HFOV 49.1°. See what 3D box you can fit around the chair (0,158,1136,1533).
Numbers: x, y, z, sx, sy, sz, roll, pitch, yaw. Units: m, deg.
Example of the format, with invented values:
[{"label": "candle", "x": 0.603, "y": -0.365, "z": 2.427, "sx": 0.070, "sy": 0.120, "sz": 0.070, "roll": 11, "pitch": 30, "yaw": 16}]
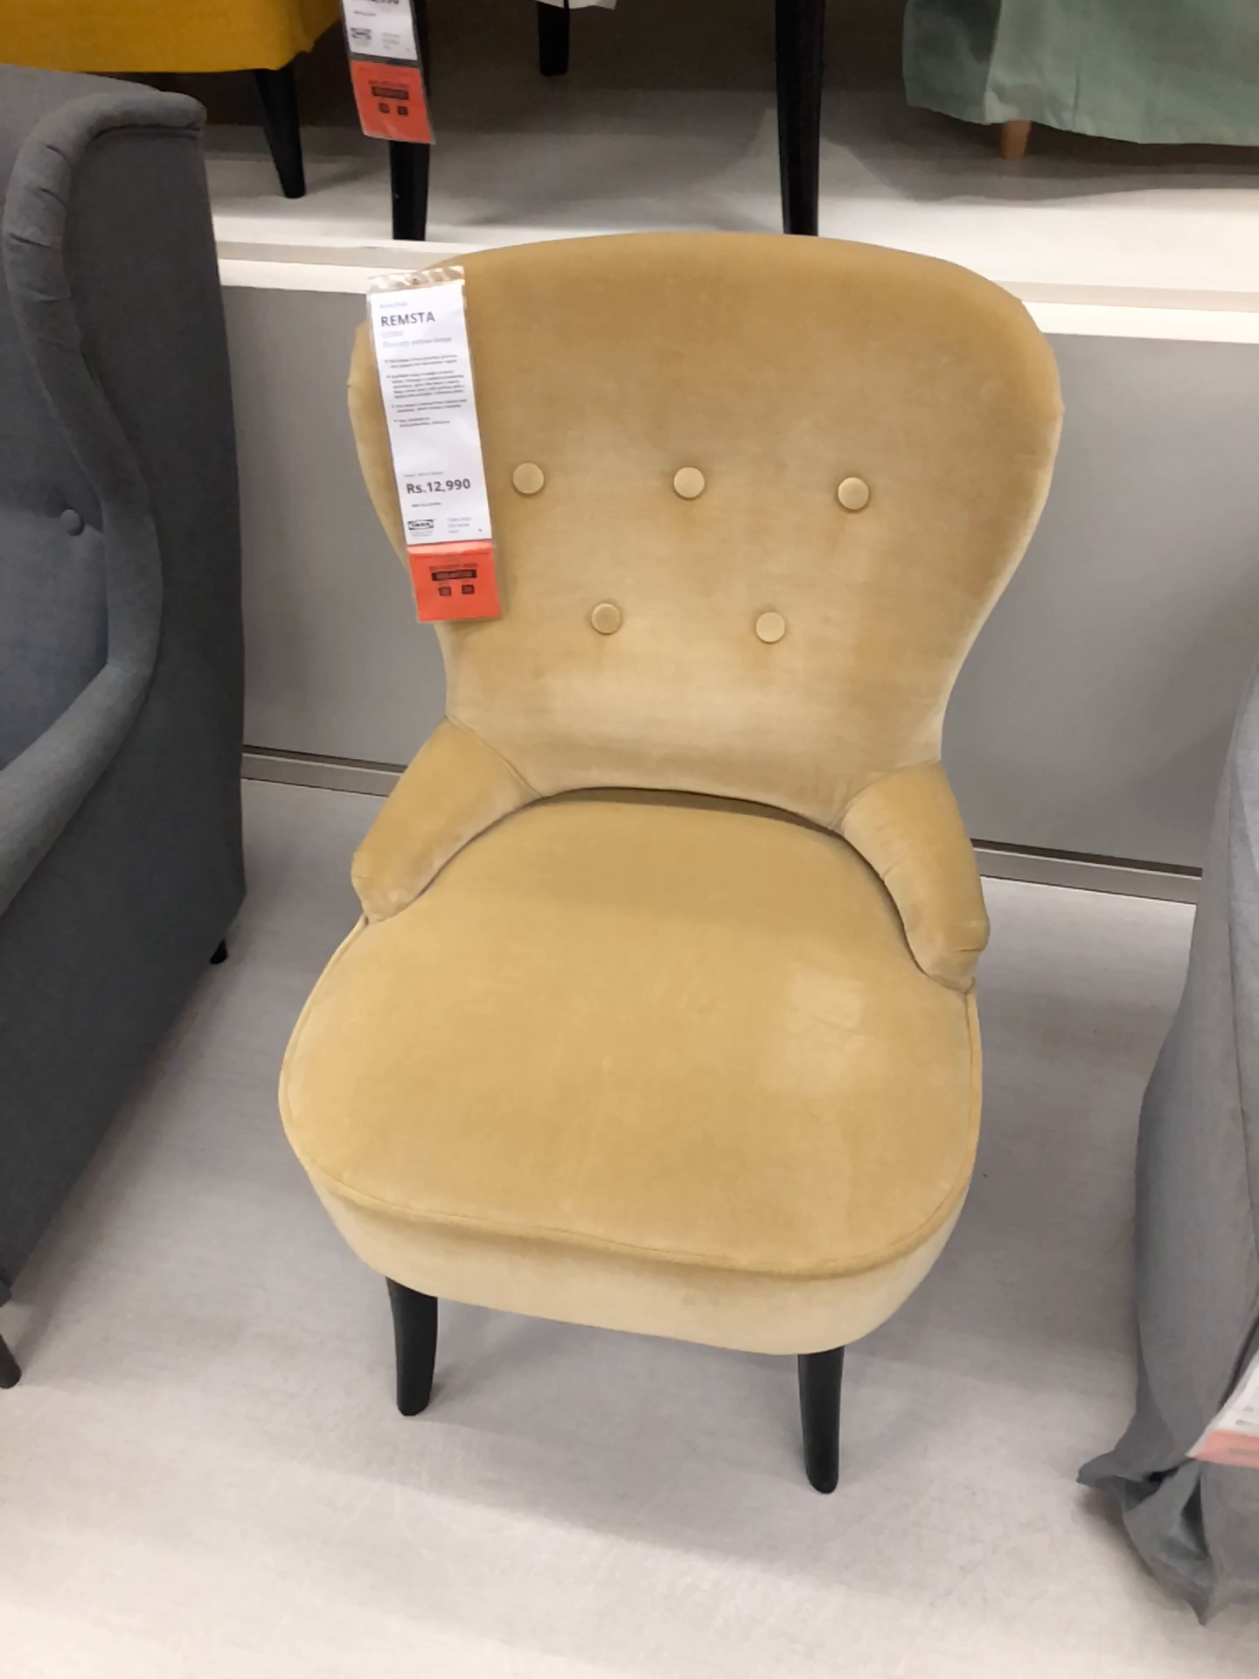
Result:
[{"label": "chair", "x": 0.006, "y": 0.033, "z": 1.117, "sx": 0.580, "sy": 0.865, "sz": 0.644, "roll": 6, "pitch": 49, "yaw": 11}]
